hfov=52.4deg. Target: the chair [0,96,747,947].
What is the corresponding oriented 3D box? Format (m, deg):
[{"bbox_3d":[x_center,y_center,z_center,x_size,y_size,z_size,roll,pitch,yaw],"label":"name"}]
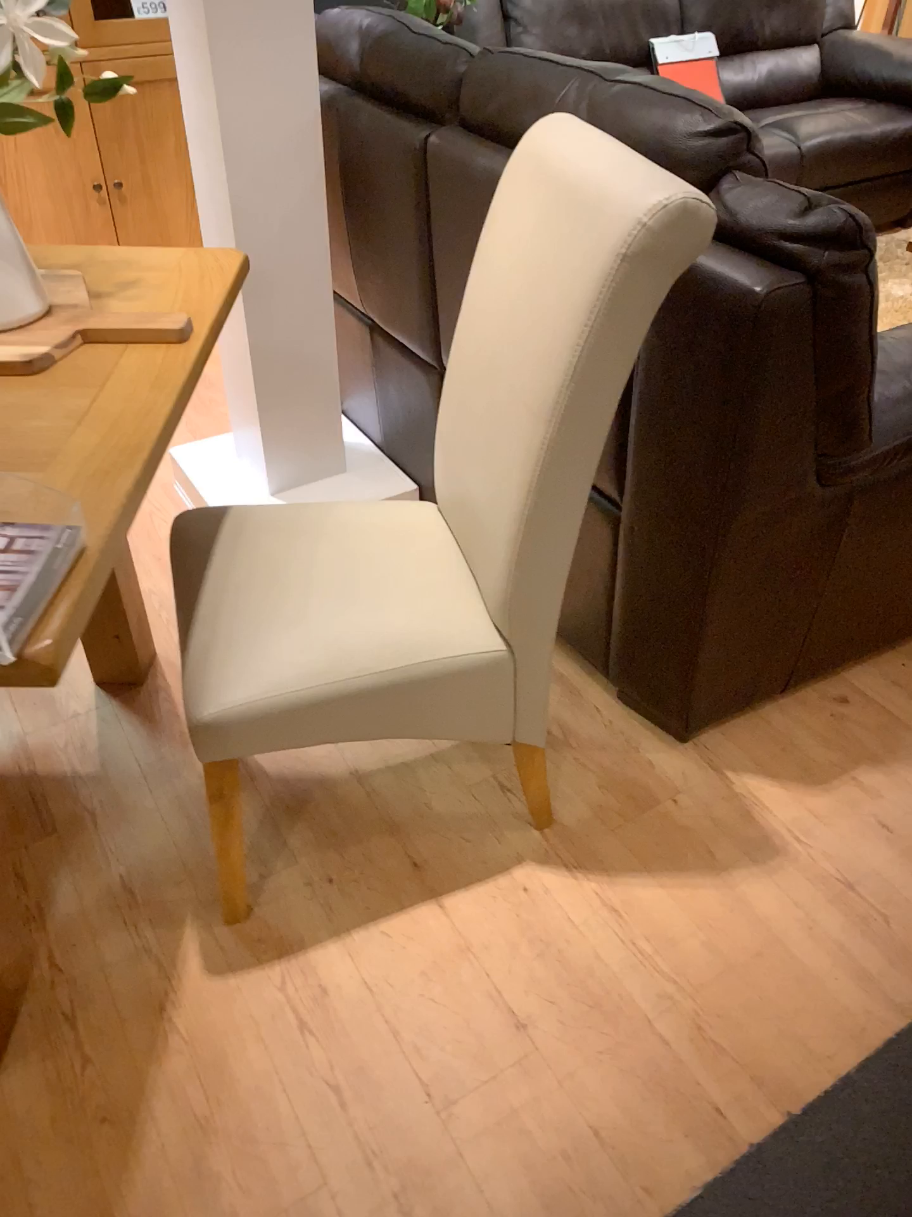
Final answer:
[{"bbox_3d":[-0.111,-0.093,1.243,0.634,0.943,0.480,-10,40,-13],"label":"chair"}]
